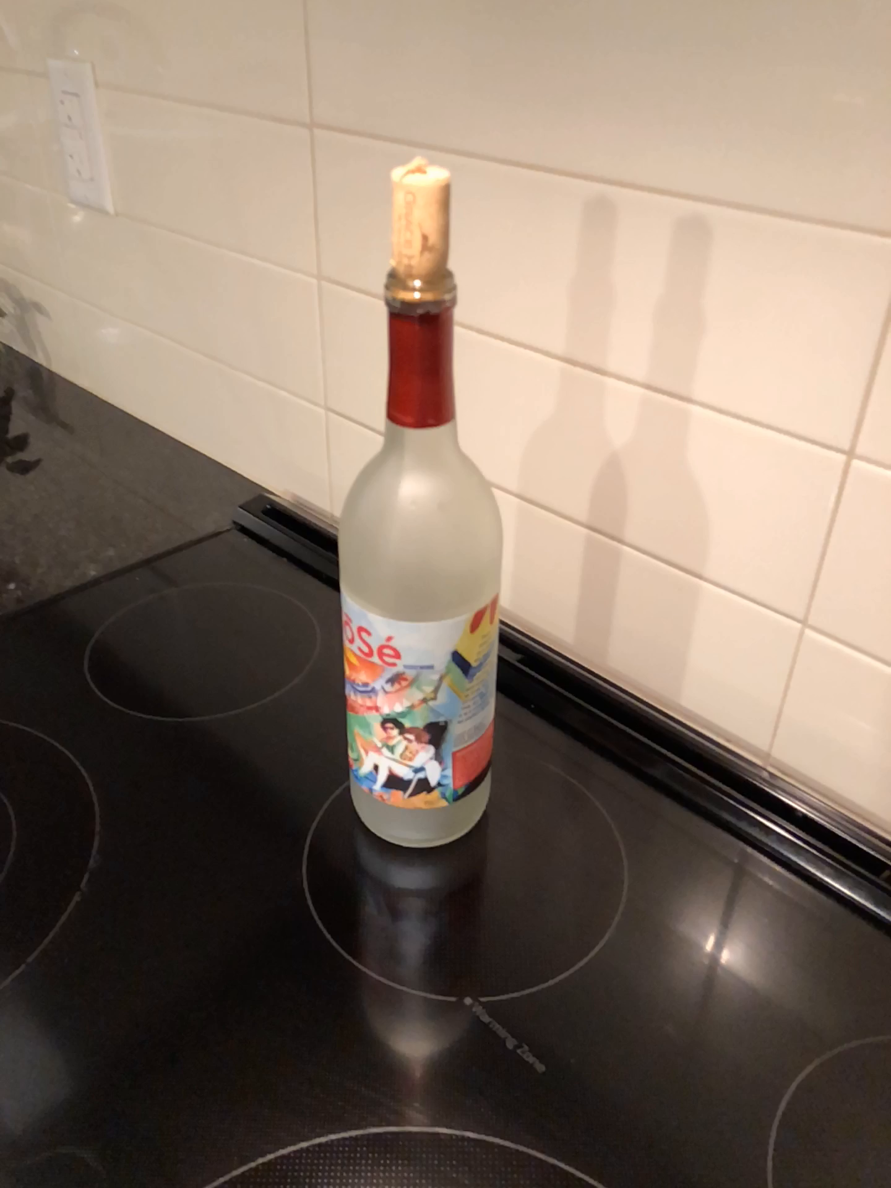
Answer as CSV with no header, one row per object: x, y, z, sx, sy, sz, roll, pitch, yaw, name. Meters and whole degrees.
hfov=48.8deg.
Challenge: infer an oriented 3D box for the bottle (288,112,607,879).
-0.003,-0.028,0.431,0.080,0.318,0.080,1,33,-1,bottle
